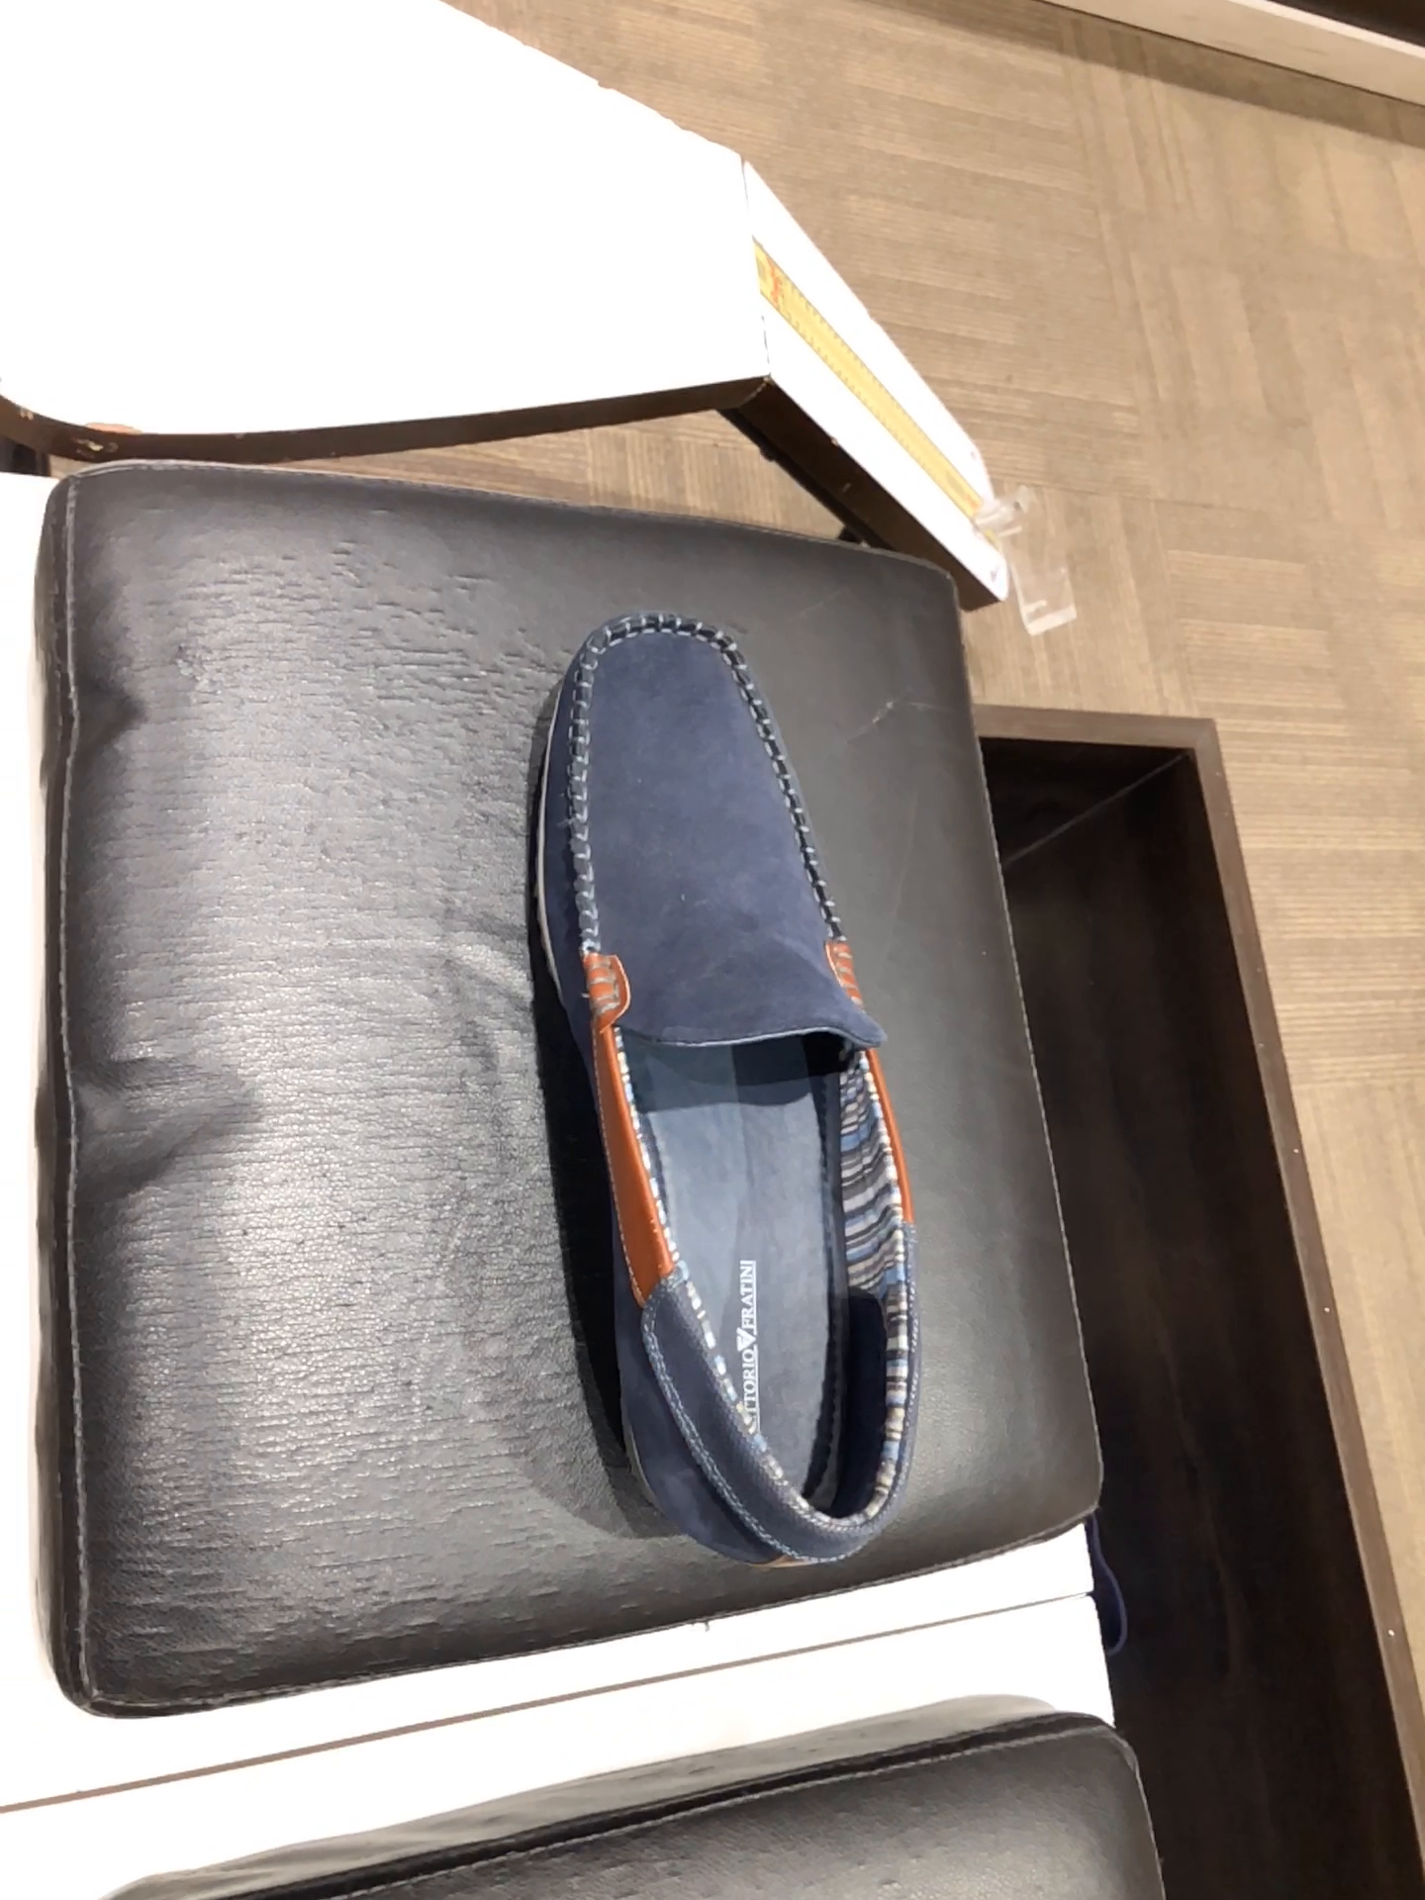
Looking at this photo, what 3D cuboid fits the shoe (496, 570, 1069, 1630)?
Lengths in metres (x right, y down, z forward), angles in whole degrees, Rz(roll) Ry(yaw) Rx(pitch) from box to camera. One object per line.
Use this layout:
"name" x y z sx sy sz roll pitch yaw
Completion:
"shoe" 0.011 0.041 0.492 0.110 0.099 0.291 -1 75 -23
